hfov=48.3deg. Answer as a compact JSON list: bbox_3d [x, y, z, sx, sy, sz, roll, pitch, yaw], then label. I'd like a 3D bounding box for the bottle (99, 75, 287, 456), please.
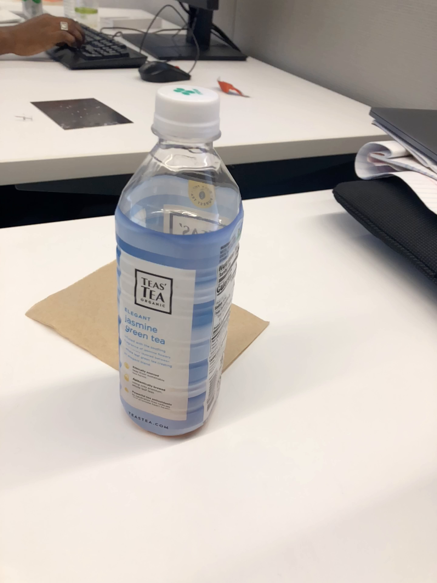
[{"bbox_3d":[-0.019,-0.007,0.293,0.070,0.209,0.070,5,33,-3],"label":"bottle"}]
